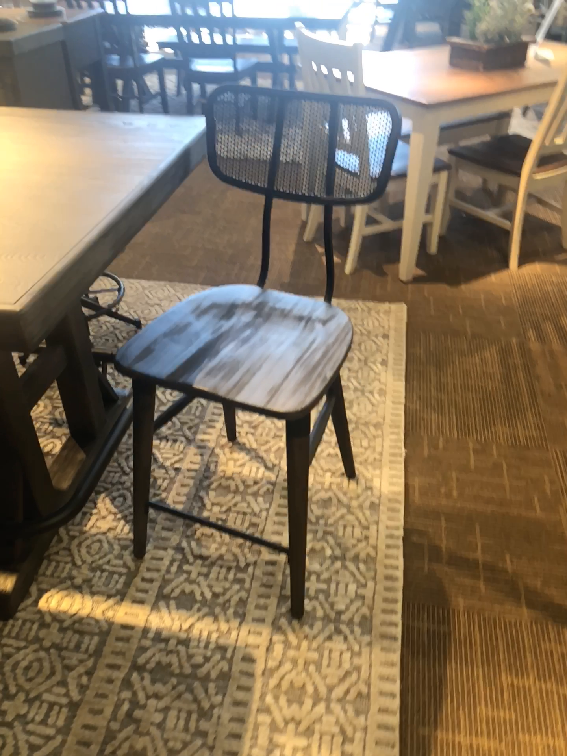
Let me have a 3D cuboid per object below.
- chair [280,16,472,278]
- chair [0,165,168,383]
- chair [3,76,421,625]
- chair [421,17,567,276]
[{"bbox_3d":[0.332,-0.976,2.590,0.490,0.866,0.556,-18,40,-23],"label":"chair"},{"bbox_3d":[-0.830,-0.383,2.134,0.635,0.488,0.522,10,37,13],"label":"chair"},{"bbox_3d":[-0.075,-0.073,1.362,0.507,0.947,0.607,14,38,18],"label":"chair"},{"bbox_3d":[1.032,-0.985,2.595,0.585,0.846,0.521,-20,41,-26],"label":"chair"}]
